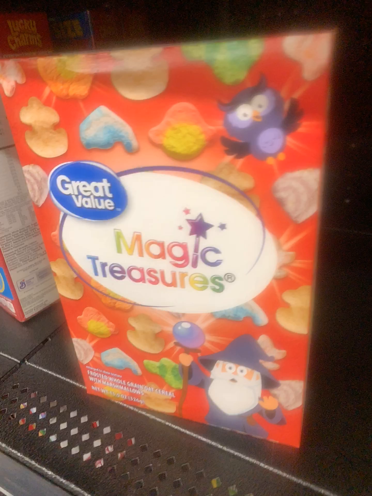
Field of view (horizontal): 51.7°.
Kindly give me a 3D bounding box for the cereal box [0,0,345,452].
[{"bbox_3d":[-0.006,-0.006,0.279,0.200,0.279,0.070,5,26,21],"label":"cereal box"}]
